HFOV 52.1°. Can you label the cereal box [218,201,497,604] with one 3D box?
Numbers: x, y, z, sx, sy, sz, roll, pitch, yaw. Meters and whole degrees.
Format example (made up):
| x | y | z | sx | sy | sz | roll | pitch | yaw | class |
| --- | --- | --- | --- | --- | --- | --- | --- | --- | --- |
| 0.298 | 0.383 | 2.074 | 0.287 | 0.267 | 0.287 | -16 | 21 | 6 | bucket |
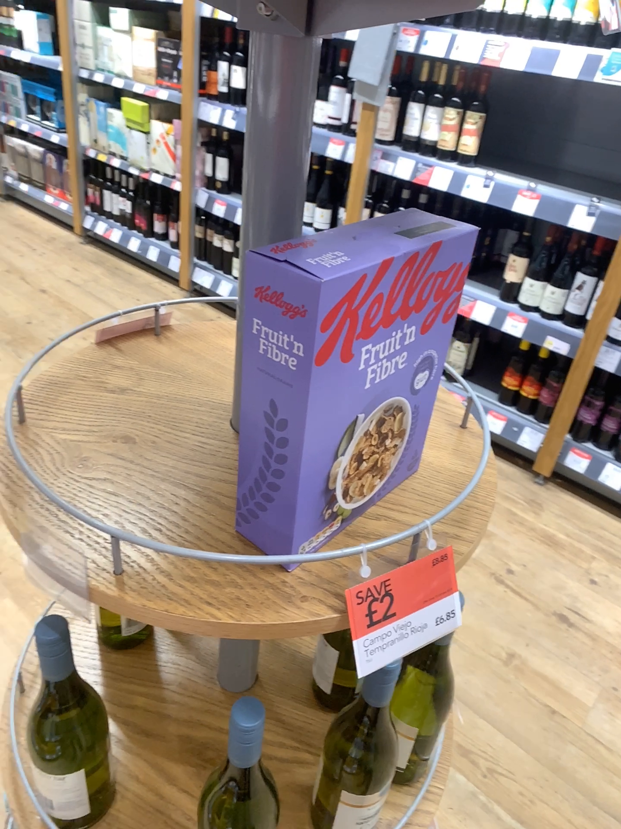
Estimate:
| x | y | z | sx | sy | sz | roll | pitch | yaw | class |
| --- | --- | --- | --- | --- | --- | --- | --- | --- | --- |
| 0.033 | -0.017 | 0.474 | 0.070 | 0.238 | 0.201 | 28 | 37 | 30 | cereal box |
